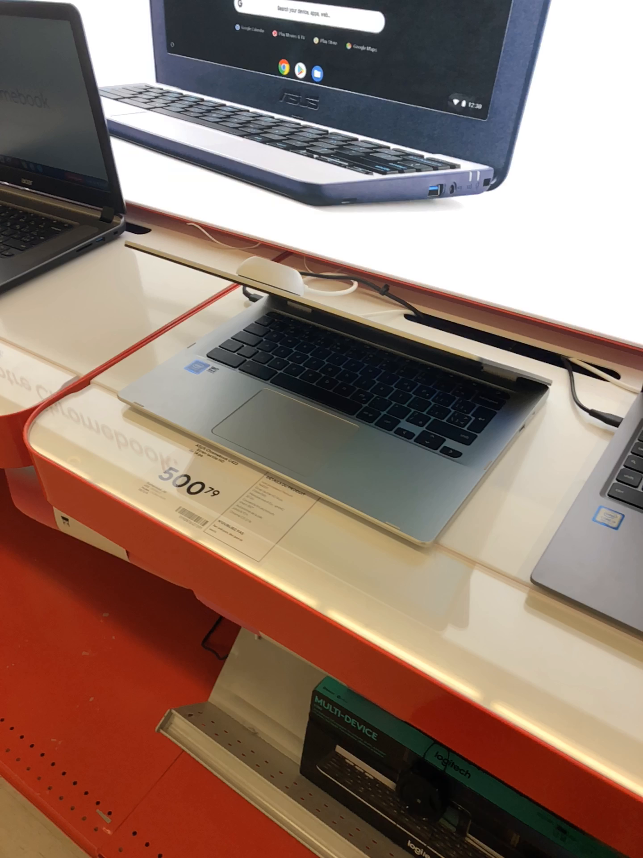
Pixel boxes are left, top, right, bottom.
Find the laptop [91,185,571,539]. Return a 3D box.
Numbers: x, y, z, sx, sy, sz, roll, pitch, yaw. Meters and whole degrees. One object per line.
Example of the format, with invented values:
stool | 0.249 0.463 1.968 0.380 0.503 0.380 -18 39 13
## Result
laptop | 0.007 -0.081 0.594 0.312 0.118 0.213 23 46 27
